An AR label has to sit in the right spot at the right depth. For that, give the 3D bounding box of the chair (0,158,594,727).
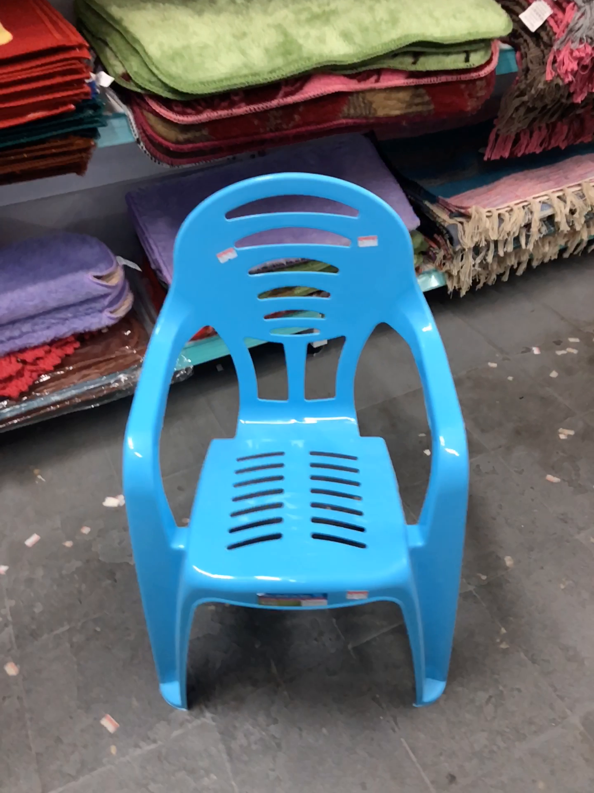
[{"bbox_3d":[-0.003,0.063,0.743,0.400,0.516,0.393,-1,42,0],"label":"chair"}]
